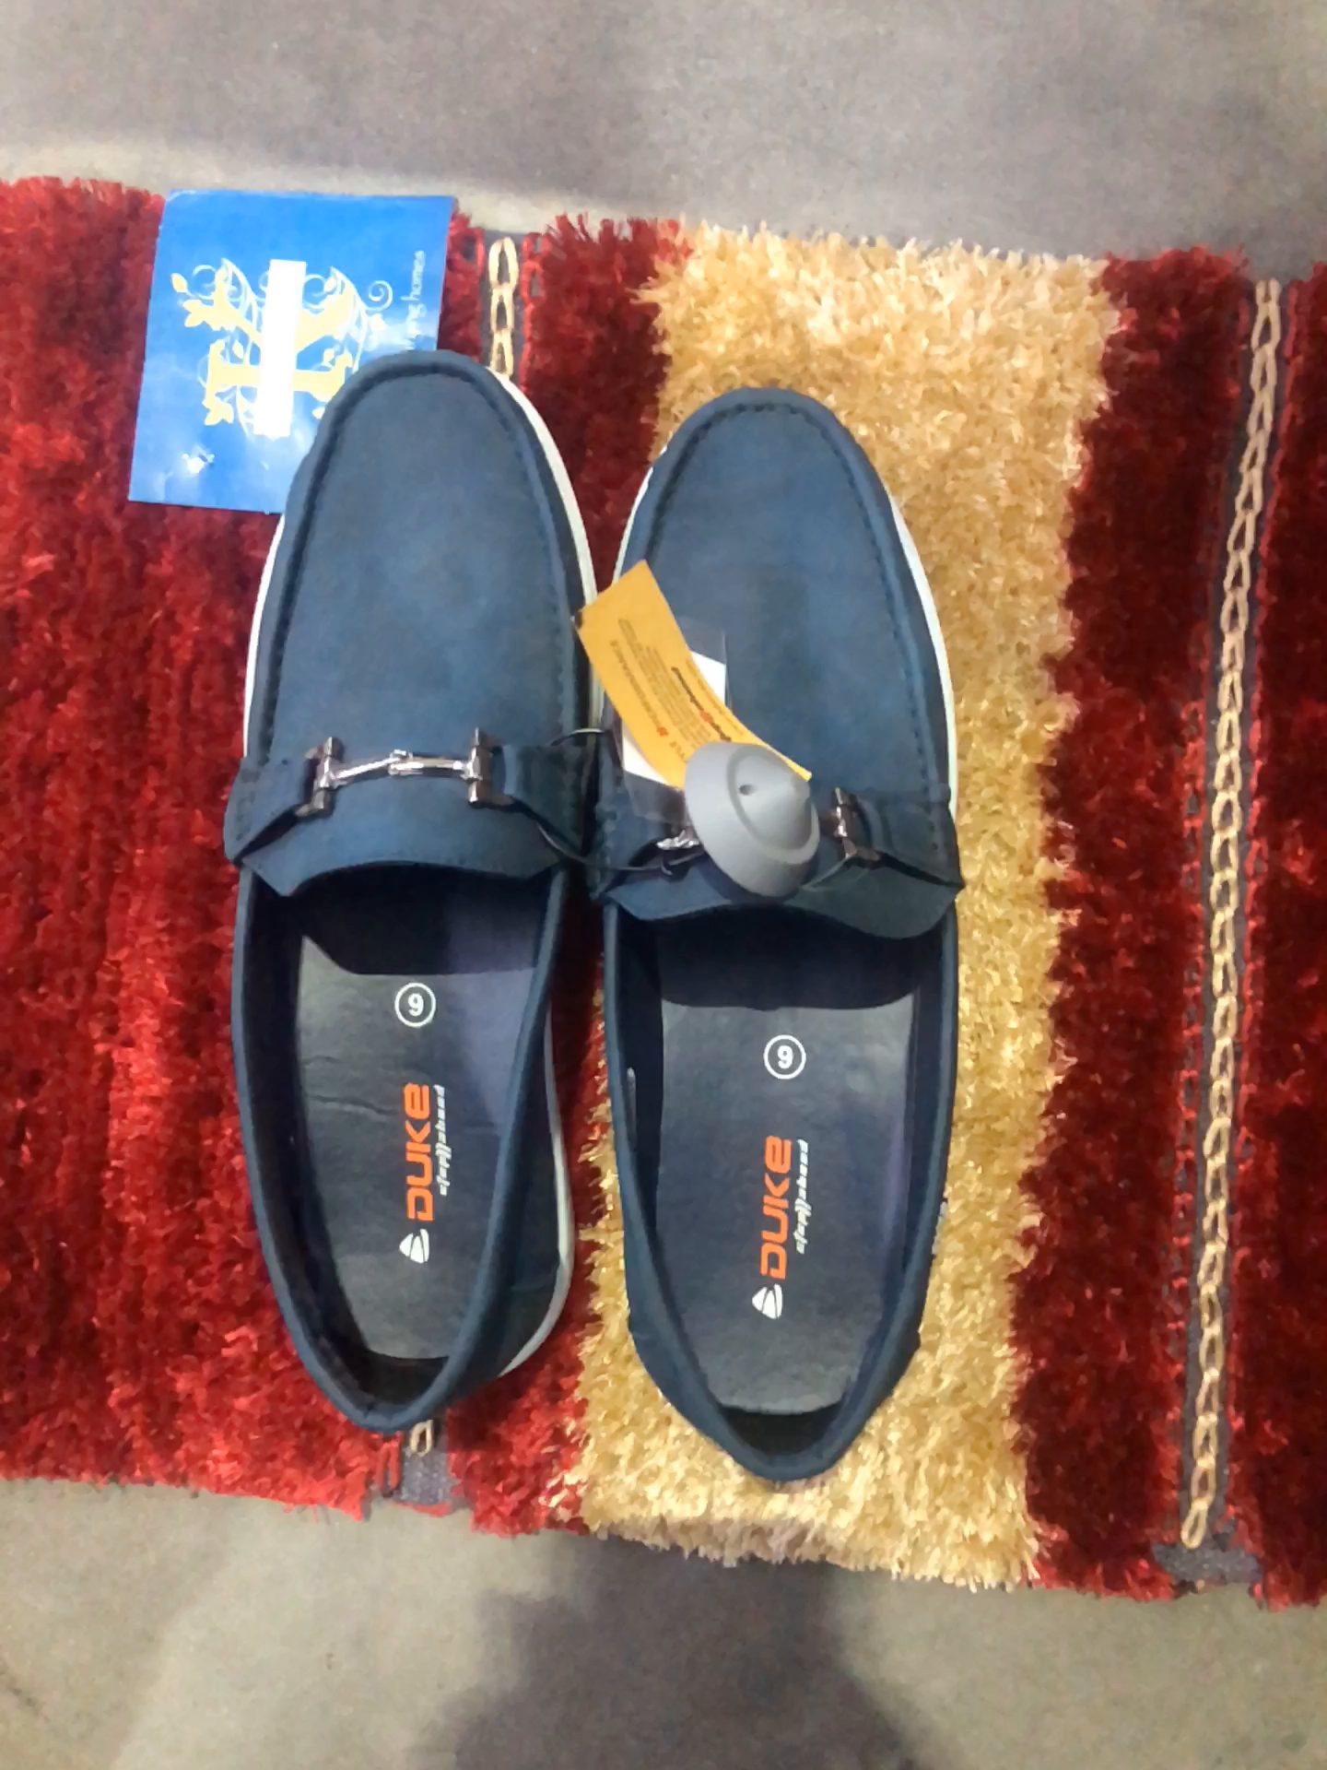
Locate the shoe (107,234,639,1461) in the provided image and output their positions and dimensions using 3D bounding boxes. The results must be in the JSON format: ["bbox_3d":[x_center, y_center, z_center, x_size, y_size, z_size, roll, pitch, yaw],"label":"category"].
[{"bbox_3d":[-0.066,-0.010,0.380,0.110,0.090,0.280,1,87,2],"label":"shoe"}]

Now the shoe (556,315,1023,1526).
[{"bbox_3d":[0.032,0.007,0.387,0.100,0.090,0.280,2,87,2],"label":"shoe"}]
